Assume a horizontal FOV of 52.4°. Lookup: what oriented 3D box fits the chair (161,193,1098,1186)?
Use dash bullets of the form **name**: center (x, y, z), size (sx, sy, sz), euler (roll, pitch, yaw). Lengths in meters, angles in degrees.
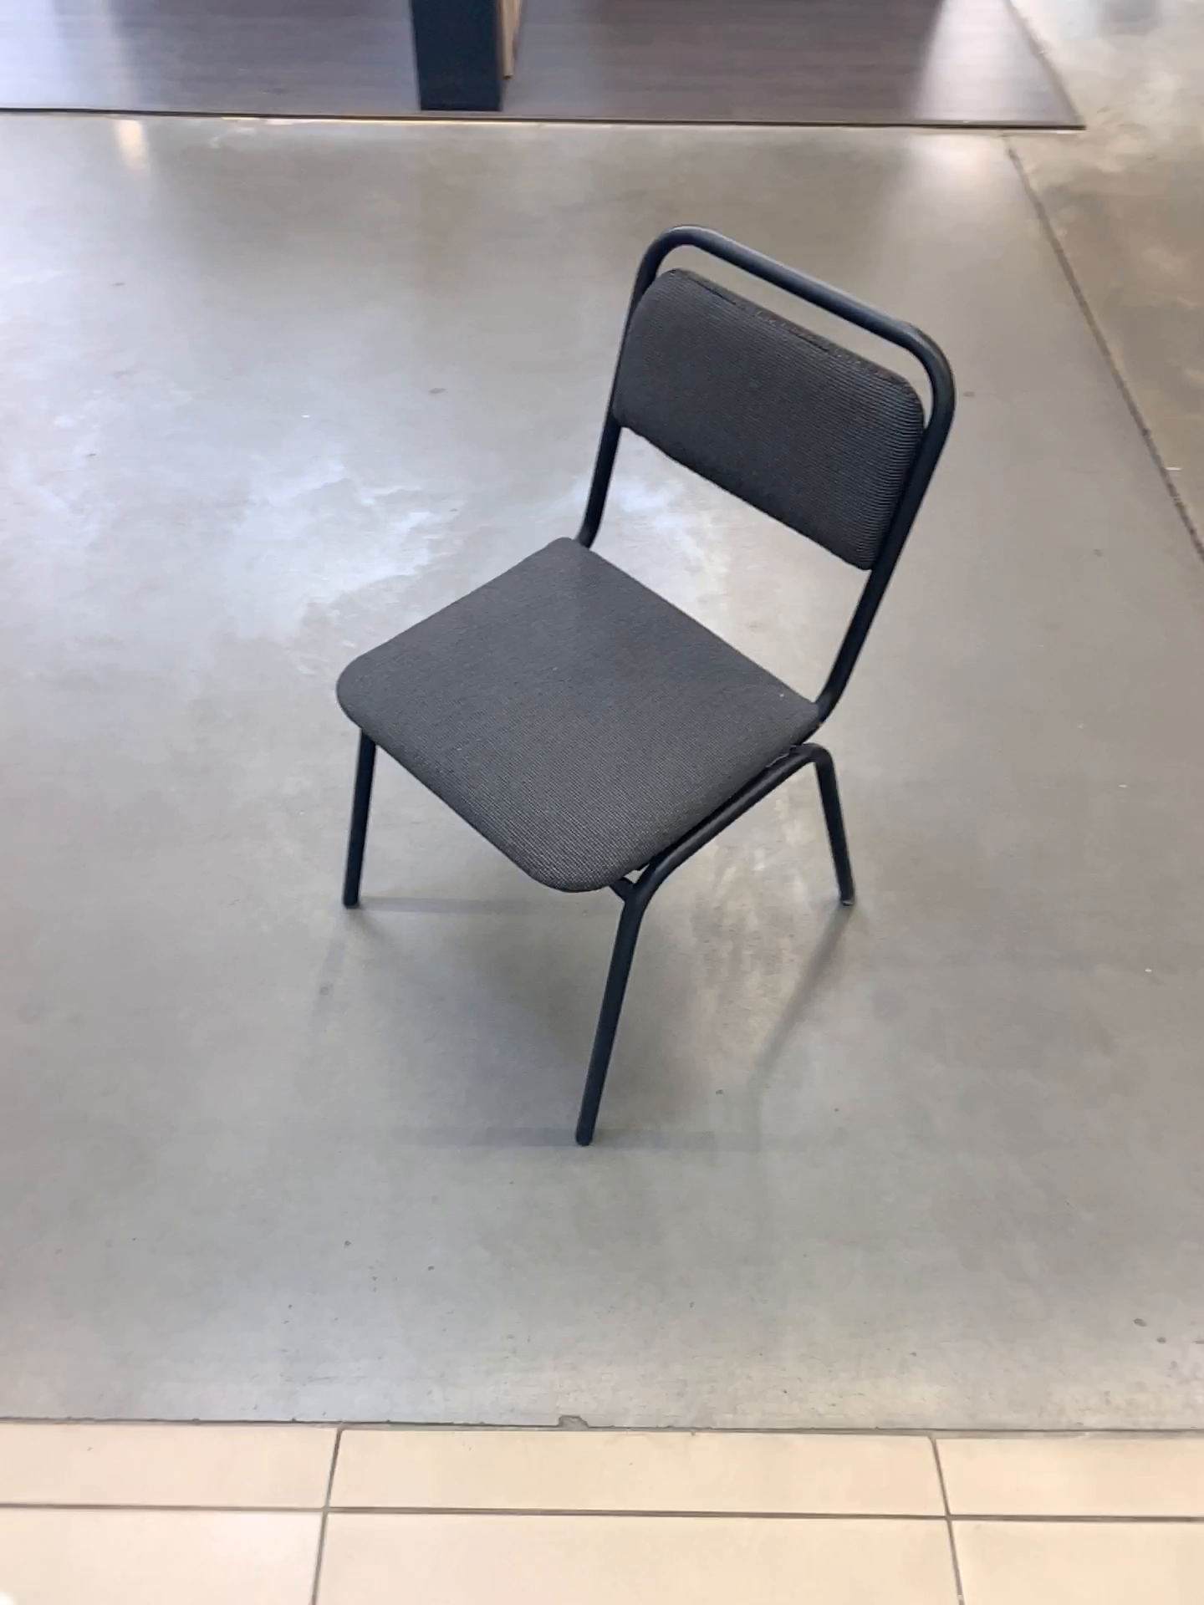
- **chair**: center (0.024, -0.121, 1.375), size (0.631, 0.737, 0.551), euler (-35, 59, -26)
